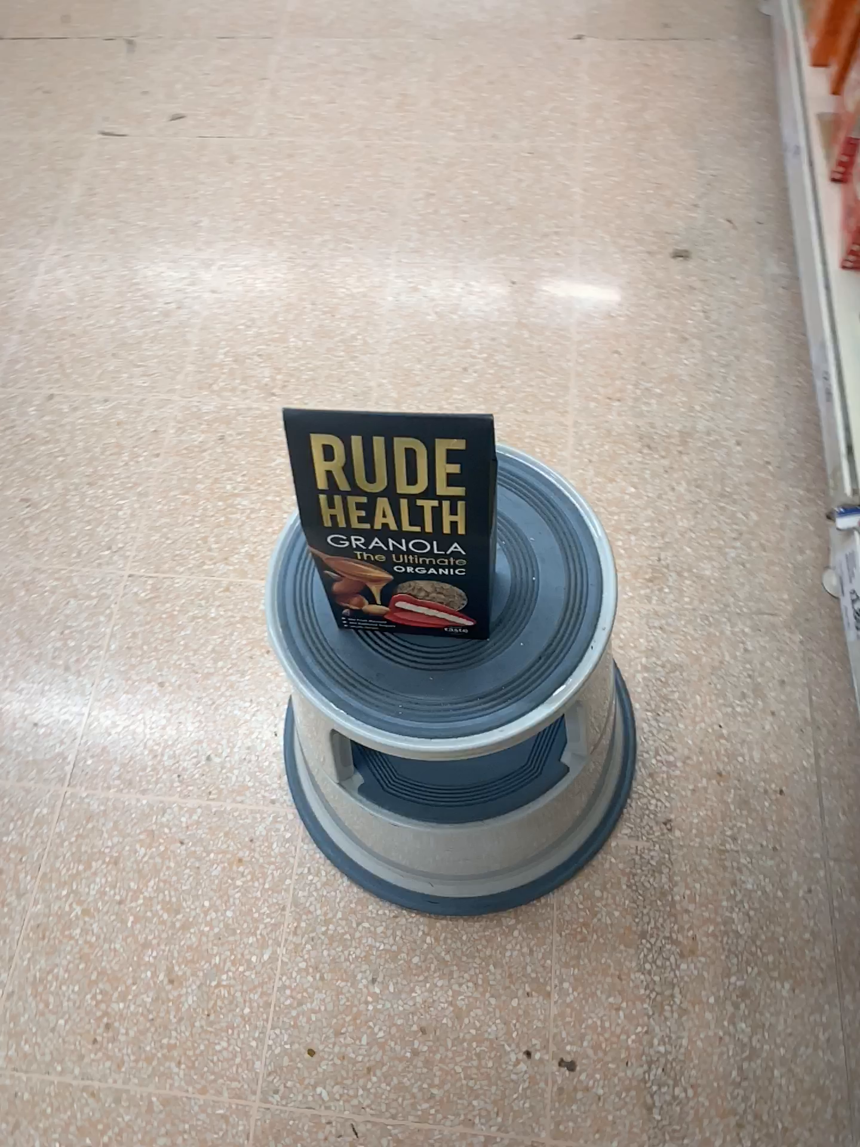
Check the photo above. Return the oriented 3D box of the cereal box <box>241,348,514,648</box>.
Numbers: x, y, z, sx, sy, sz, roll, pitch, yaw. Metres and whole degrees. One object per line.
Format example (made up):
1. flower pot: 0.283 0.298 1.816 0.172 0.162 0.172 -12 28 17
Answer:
1. cereal box: -0.019 -0.035 0.590 0.140 0.259 0.070 4 64 6
